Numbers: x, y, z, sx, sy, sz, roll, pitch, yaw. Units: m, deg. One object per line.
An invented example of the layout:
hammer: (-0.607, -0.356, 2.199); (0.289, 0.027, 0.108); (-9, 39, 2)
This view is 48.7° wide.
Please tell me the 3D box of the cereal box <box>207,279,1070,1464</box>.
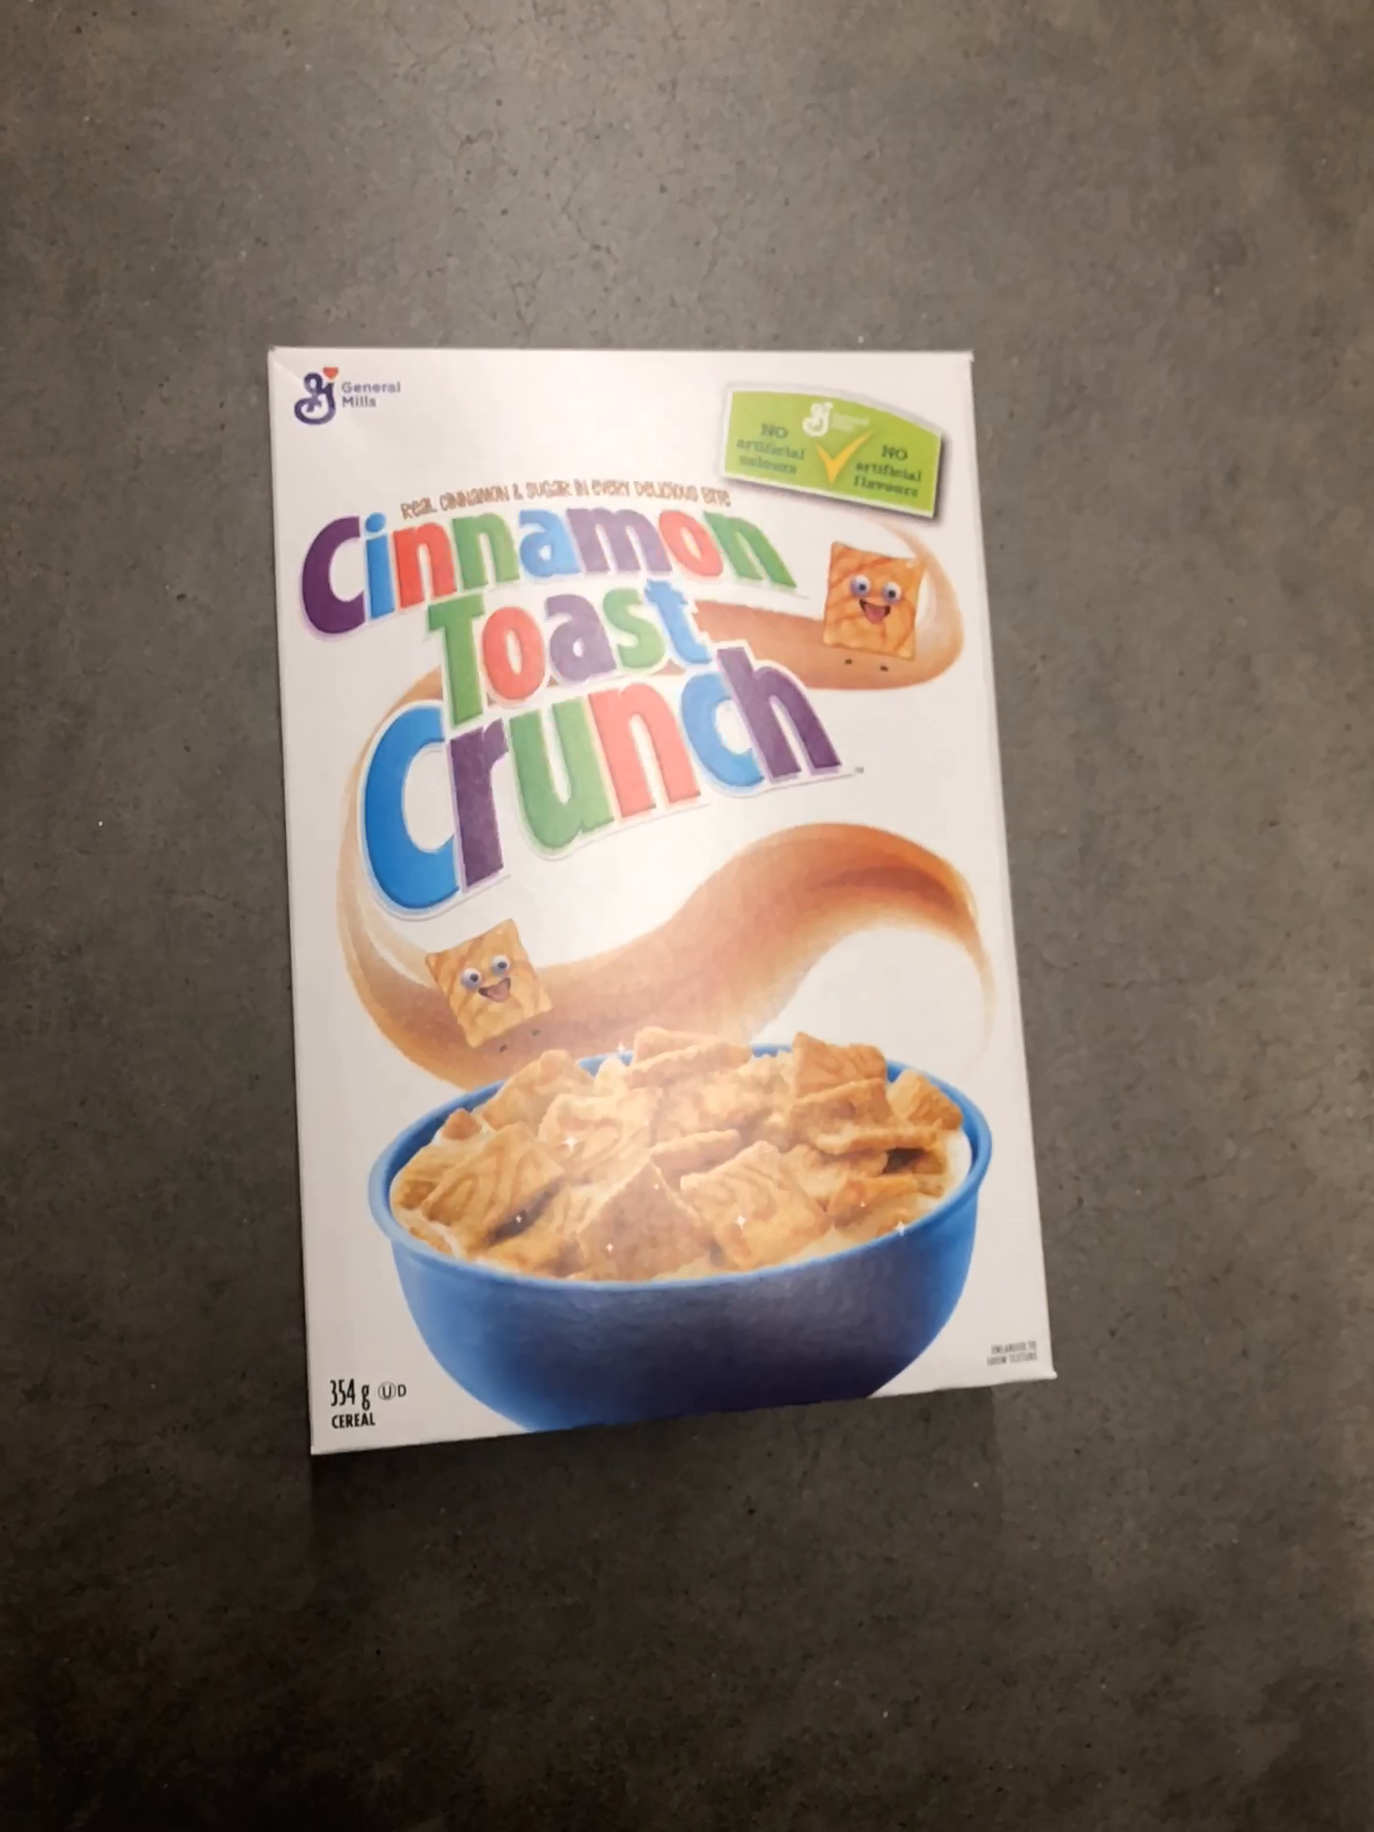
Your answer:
cereal box: (-0.015, -0.018, 0.414); (0.200, 0.060, 0.290); (-4, 87, -8)
